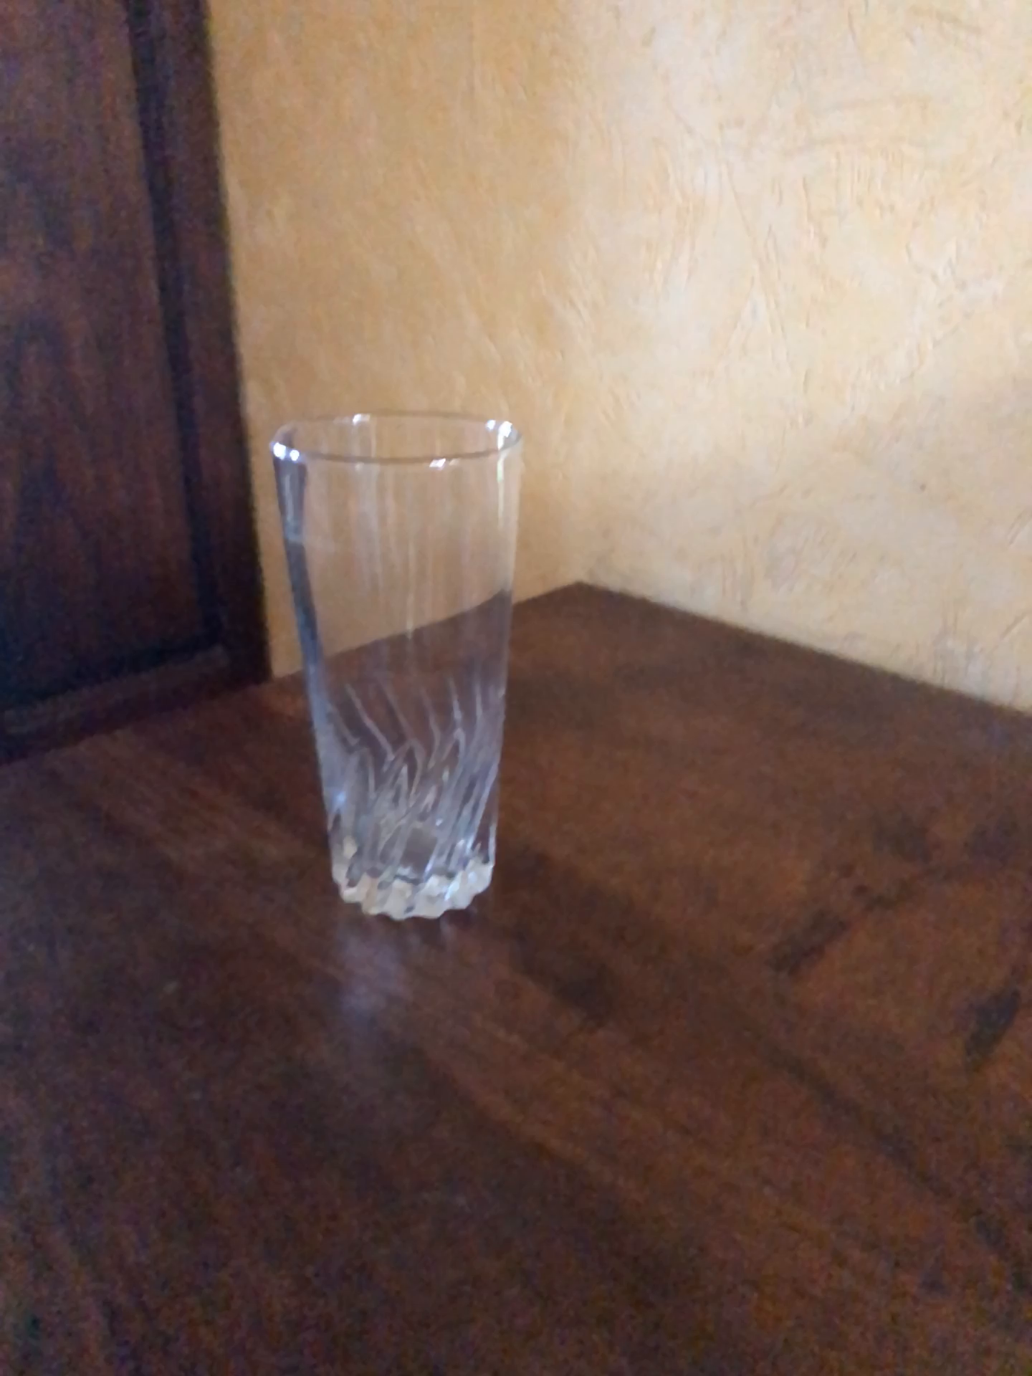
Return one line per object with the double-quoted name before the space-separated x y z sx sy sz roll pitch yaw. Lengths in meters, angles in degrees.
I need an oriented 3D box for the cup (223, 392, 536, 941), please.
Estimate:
"cup" -0.035 -0.009 0.351 0.070 0.149 0.070 0 22 0
